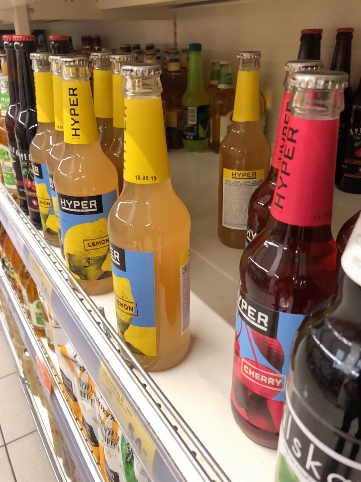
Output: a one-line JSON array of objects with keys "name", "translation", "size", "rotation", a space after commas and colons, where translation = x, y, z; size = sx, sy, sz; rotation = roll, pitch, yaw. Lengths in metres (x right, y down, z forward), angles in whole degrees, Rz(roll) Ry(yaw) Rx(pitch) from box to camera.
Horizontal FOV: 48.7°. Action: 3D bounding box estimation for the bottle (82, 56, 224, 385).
[{"name": "bottle", "translation": [-0.021, -0.012, 0.316], "size": [0.080, 0.239, 0.080], "rotation": [-1, 26, 0]}]
